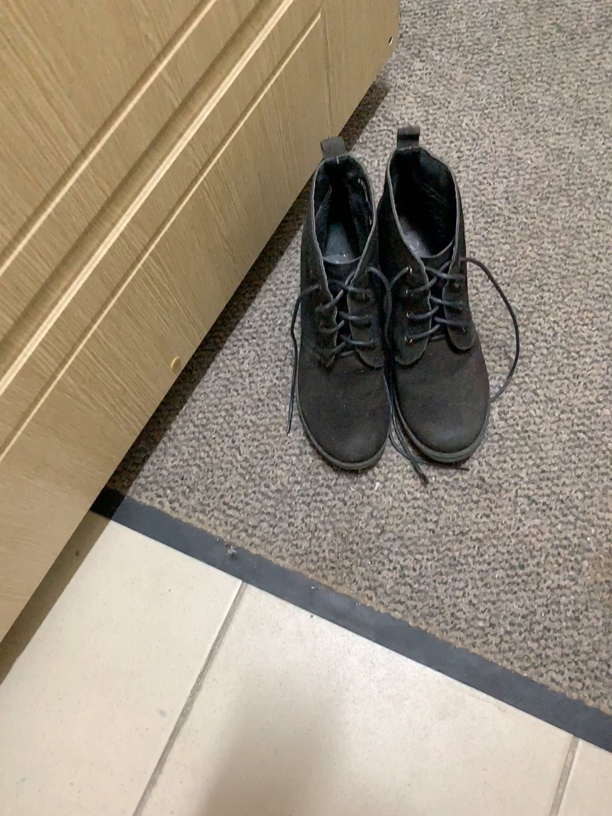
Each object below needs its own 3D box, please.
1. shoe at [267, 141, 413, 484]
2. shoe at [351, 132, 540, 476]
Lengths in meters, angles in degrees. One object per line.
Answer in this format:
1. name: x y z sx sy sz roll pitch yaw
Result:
1. shoe: 0.027 -0.070 0.529 0.080 0.160 0.230 -7 71 3
2. shoe: 0.103 -0.078 0.533 0.080 0.160 0.230 -12 71 2
